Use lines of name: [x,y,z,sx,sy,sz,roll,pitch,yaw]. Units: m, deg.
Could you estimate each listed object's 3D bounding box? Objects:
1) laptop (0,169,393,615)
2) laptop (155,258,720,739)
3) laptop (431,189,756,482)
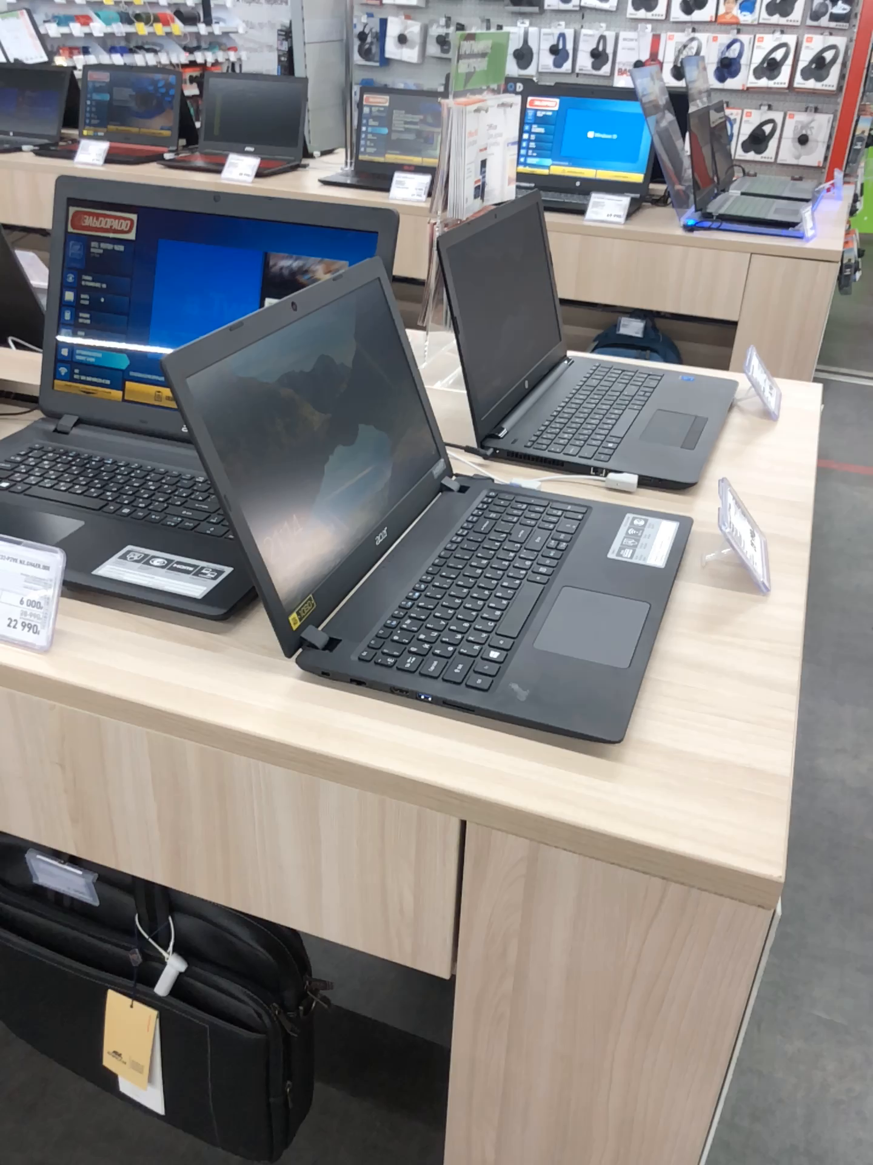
laptop: [-0.308,-0.223,0.951,0.401,0.250,0.397,12,34,16]
laptop: [0.028,-0.109,0.824,0.347,0.219,0.376,12,32,16]
laptop: [0.207,-0.327,1.201,0.294,0.220,0.360,14,33,16]
